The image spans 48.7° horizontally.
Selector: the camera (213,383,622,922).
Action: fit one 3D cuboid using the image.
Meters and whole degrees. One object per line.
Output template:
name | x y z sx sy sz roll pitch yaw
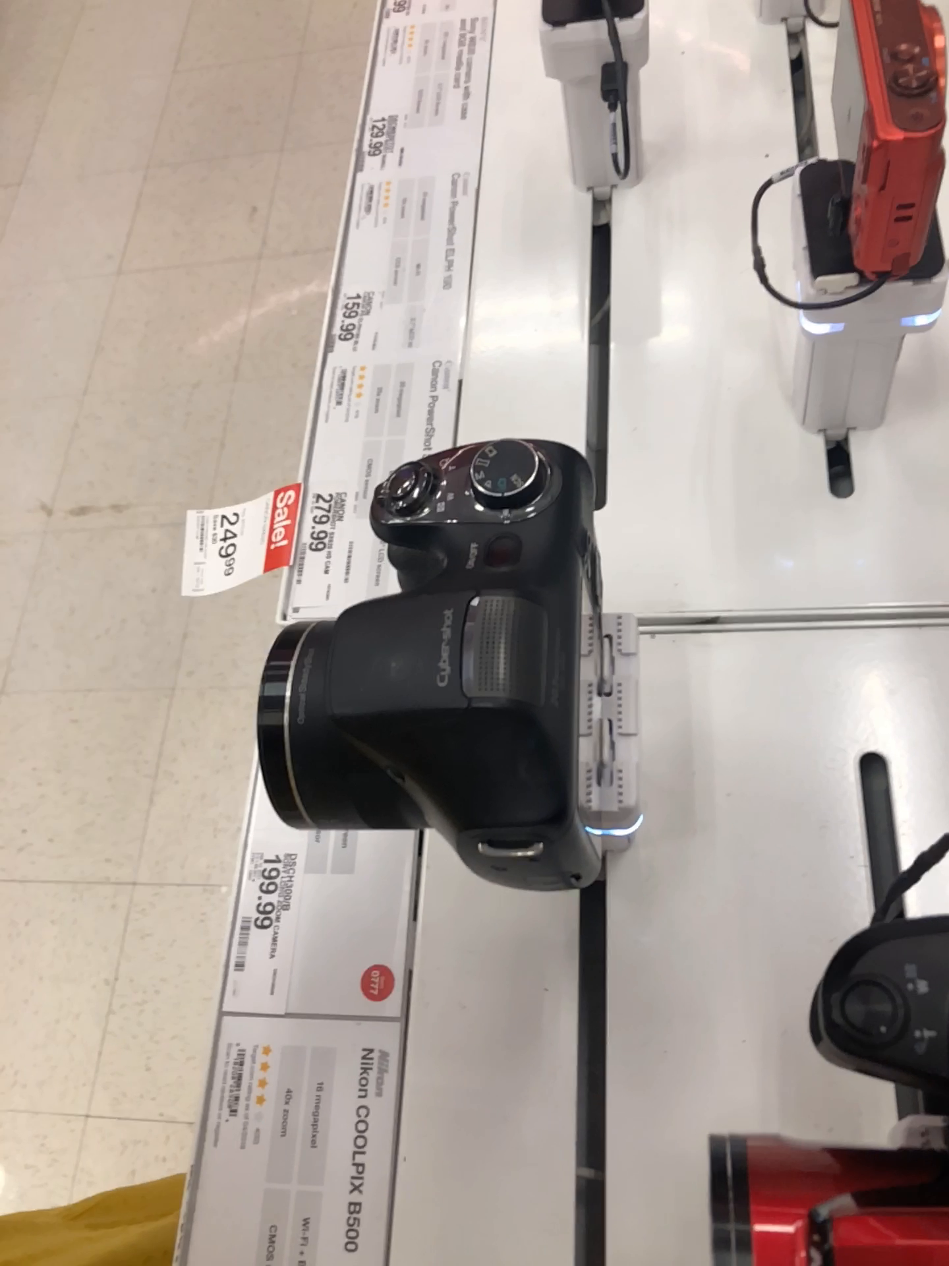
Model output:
camera | -0.006 0.009 0.313 0.090 0.090 0.130 -1 63 12
